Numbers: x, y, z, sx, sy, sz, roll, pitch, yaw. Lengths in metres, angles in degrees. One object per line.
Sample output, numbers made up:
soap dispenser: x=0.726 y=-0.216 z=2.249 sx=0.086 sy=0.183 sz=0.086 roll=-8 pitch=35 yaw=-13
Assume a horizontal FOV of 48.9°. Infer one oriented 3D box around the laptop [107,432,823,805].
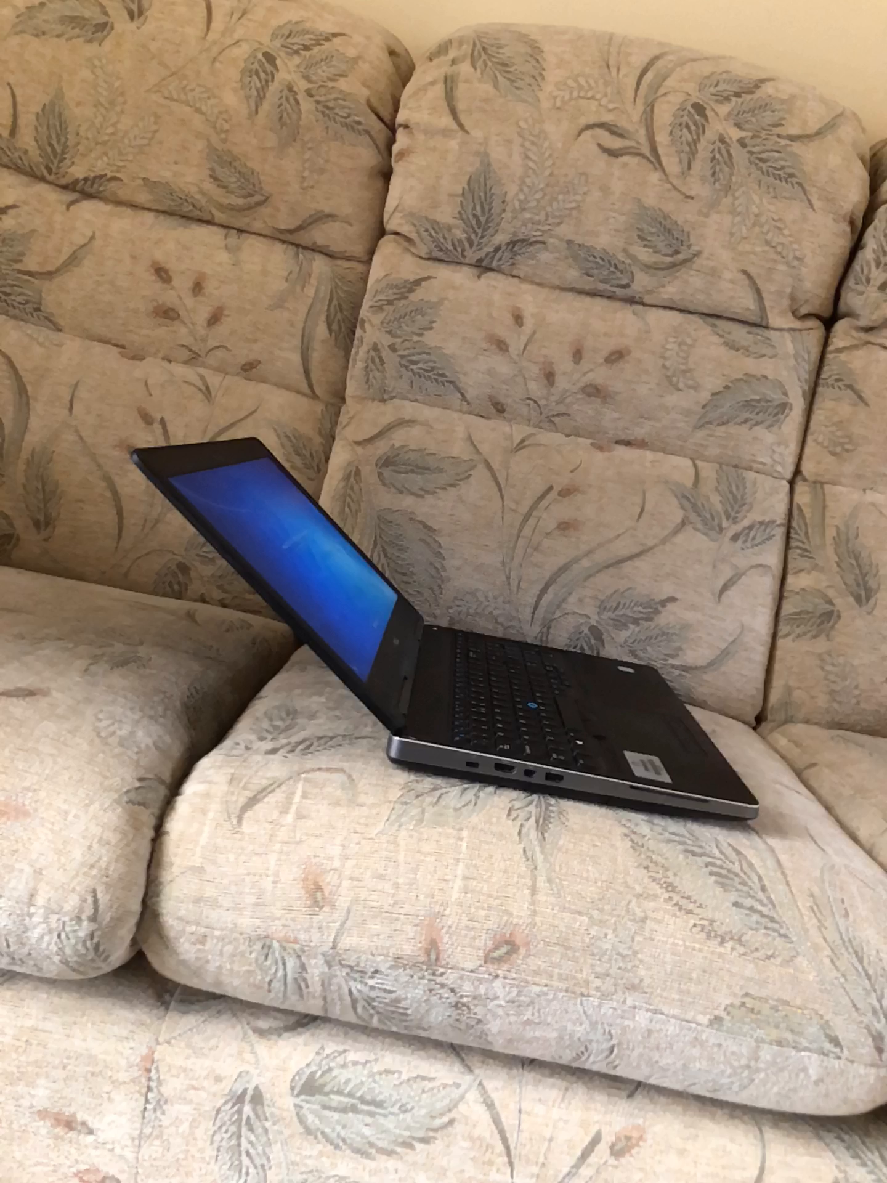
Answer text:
laptop: x=0.007 y=-0.006 z=0.814 sx=0.451 sy=0.157 sz=0.356 roll=11 pitch=12 yaw=0
